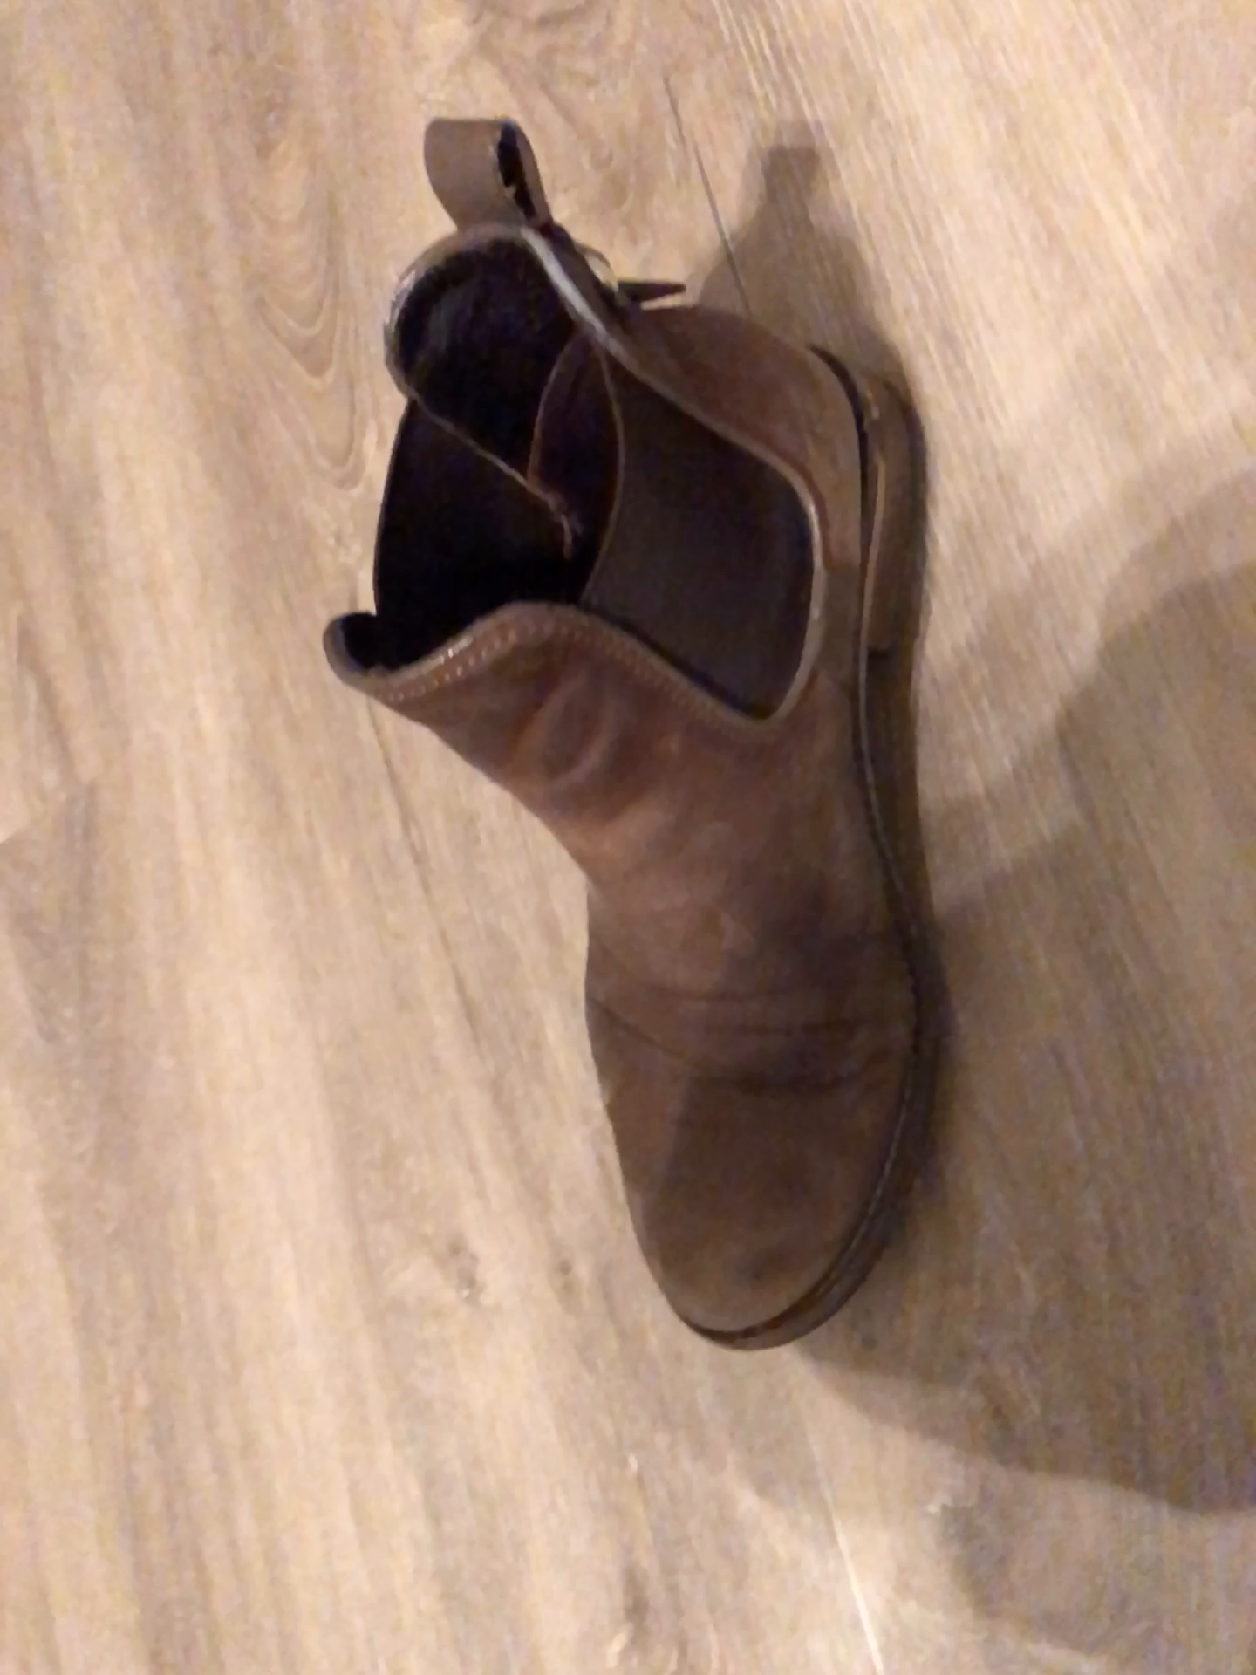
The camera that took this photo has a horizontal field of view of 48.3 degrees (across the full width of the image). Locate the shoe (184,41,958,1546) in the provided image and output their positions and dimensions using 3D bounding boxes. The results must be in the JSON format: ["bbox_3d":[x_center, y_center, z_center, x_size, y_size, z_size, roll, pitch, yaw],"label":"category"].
[{"bbox_3d":[-0.004,-0.006,0.309,0.101,0.139,0.240,-1,87,37],"label":"shoe"}]
